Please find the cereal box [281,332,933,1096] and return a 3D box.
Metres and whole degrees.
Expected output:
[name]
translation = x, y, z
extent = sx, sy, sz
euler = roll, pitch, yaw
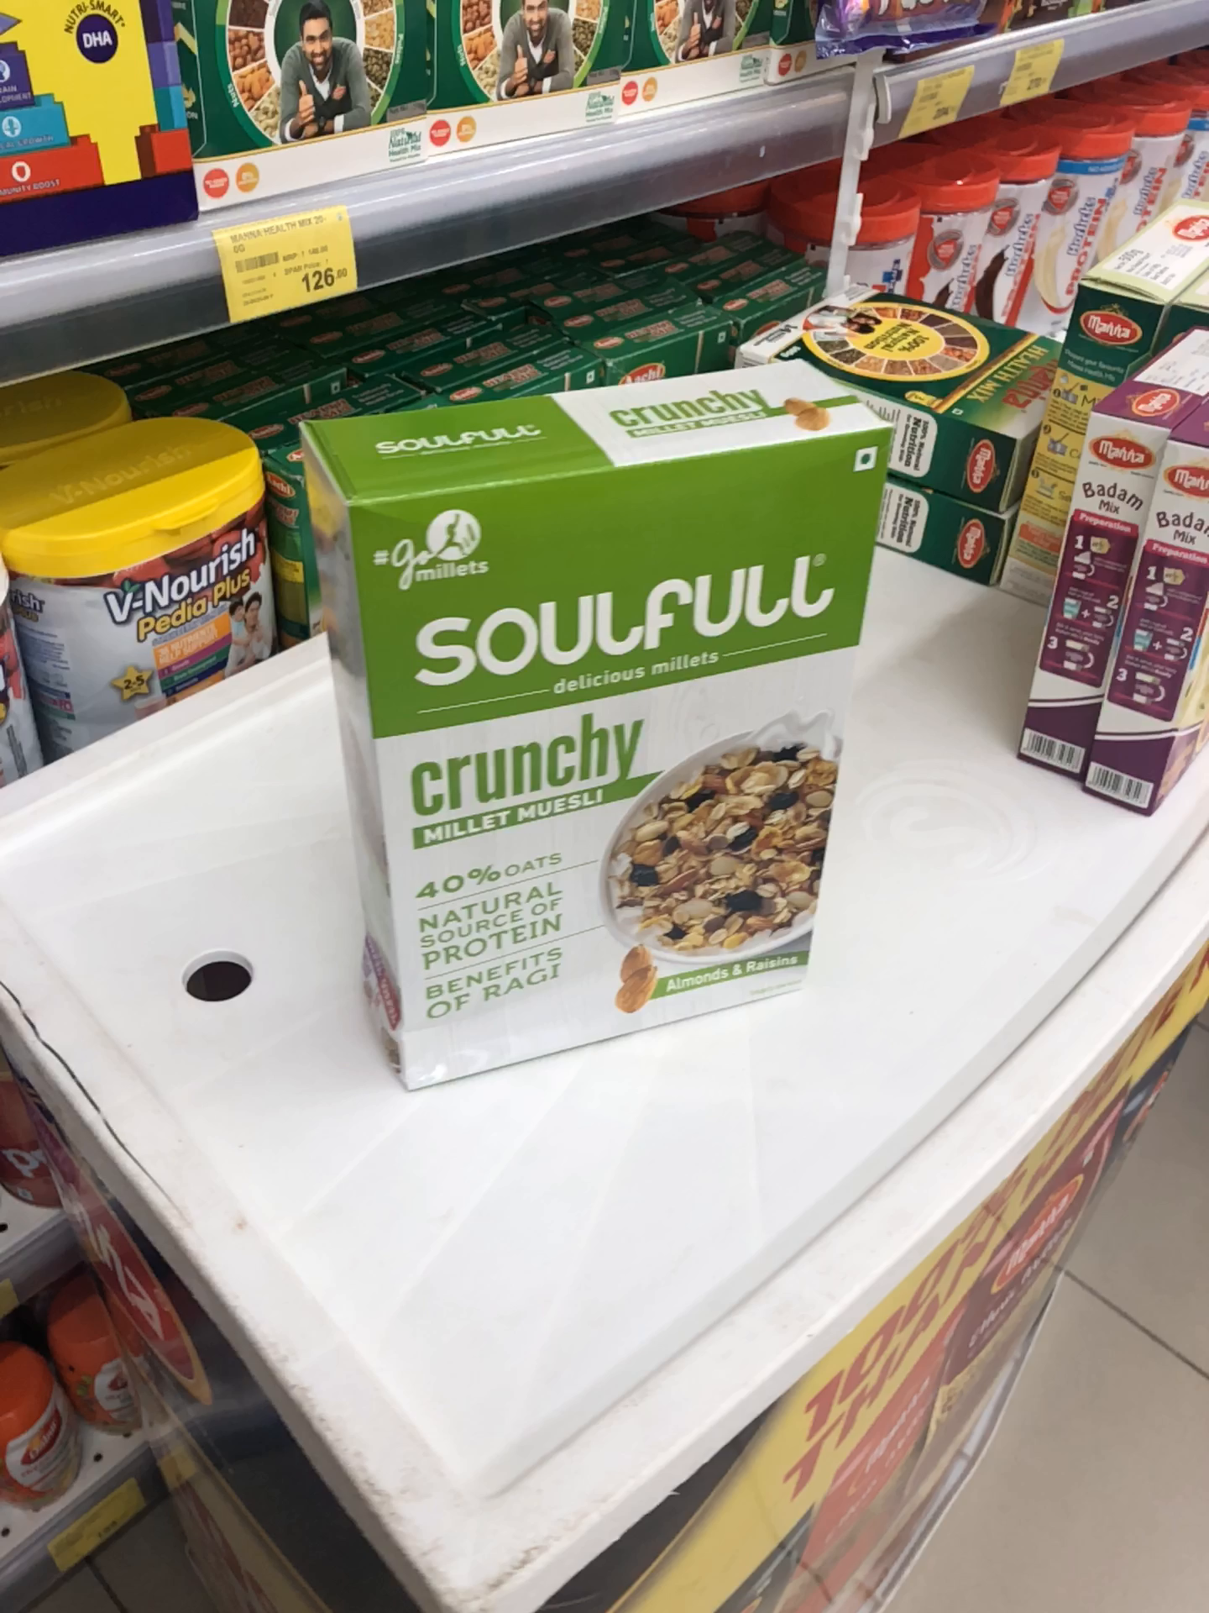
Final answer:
[cereal box]
translation = -0.002, -0.023, 0.479
extent = 0.180, 0.249, 0.070
euler = -13, 43, -15
